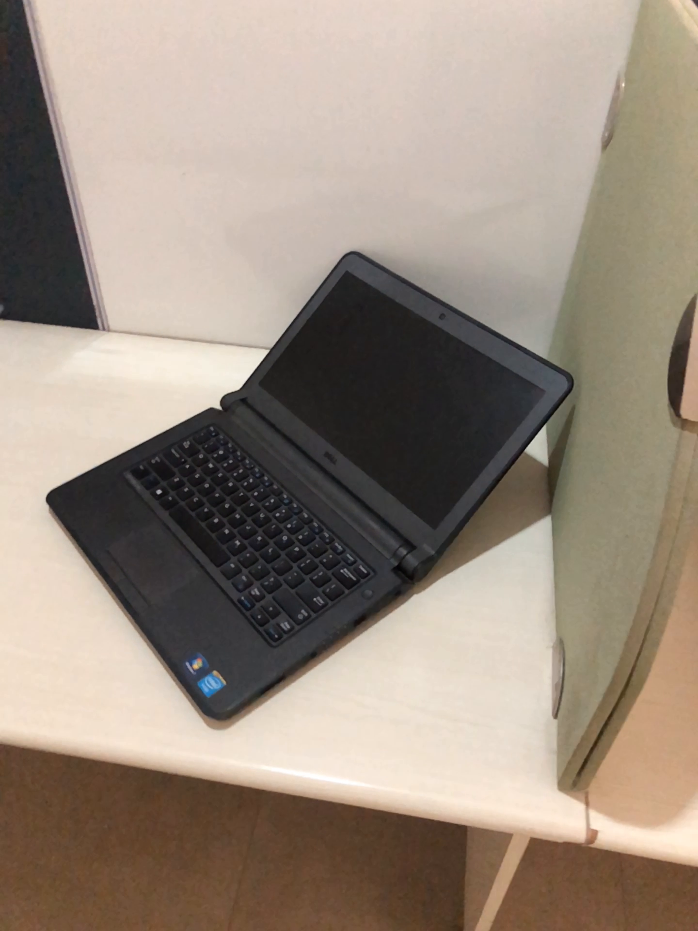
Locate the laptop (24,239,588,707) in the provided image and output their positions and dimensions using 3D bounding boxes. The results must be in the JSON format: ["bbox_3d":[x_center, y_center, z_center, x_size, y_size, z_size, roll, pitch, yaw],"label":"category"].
[{"bbox_3d":[-0.042,-0.033,0.723,0.395,0.128,0.310,-31,50,-25],"label":"laptop"}]
